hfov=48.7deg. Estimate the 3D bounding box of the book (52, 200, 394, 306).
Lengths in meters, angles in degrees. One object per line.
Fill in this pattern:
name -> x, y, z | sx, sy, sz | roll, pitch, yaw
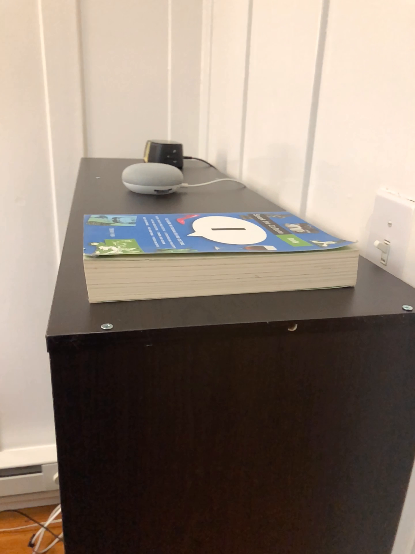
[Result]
book -> -0.003, -0.036, 0.430 | 0.260, 0.030, 0.201 | -3, 21, -15
